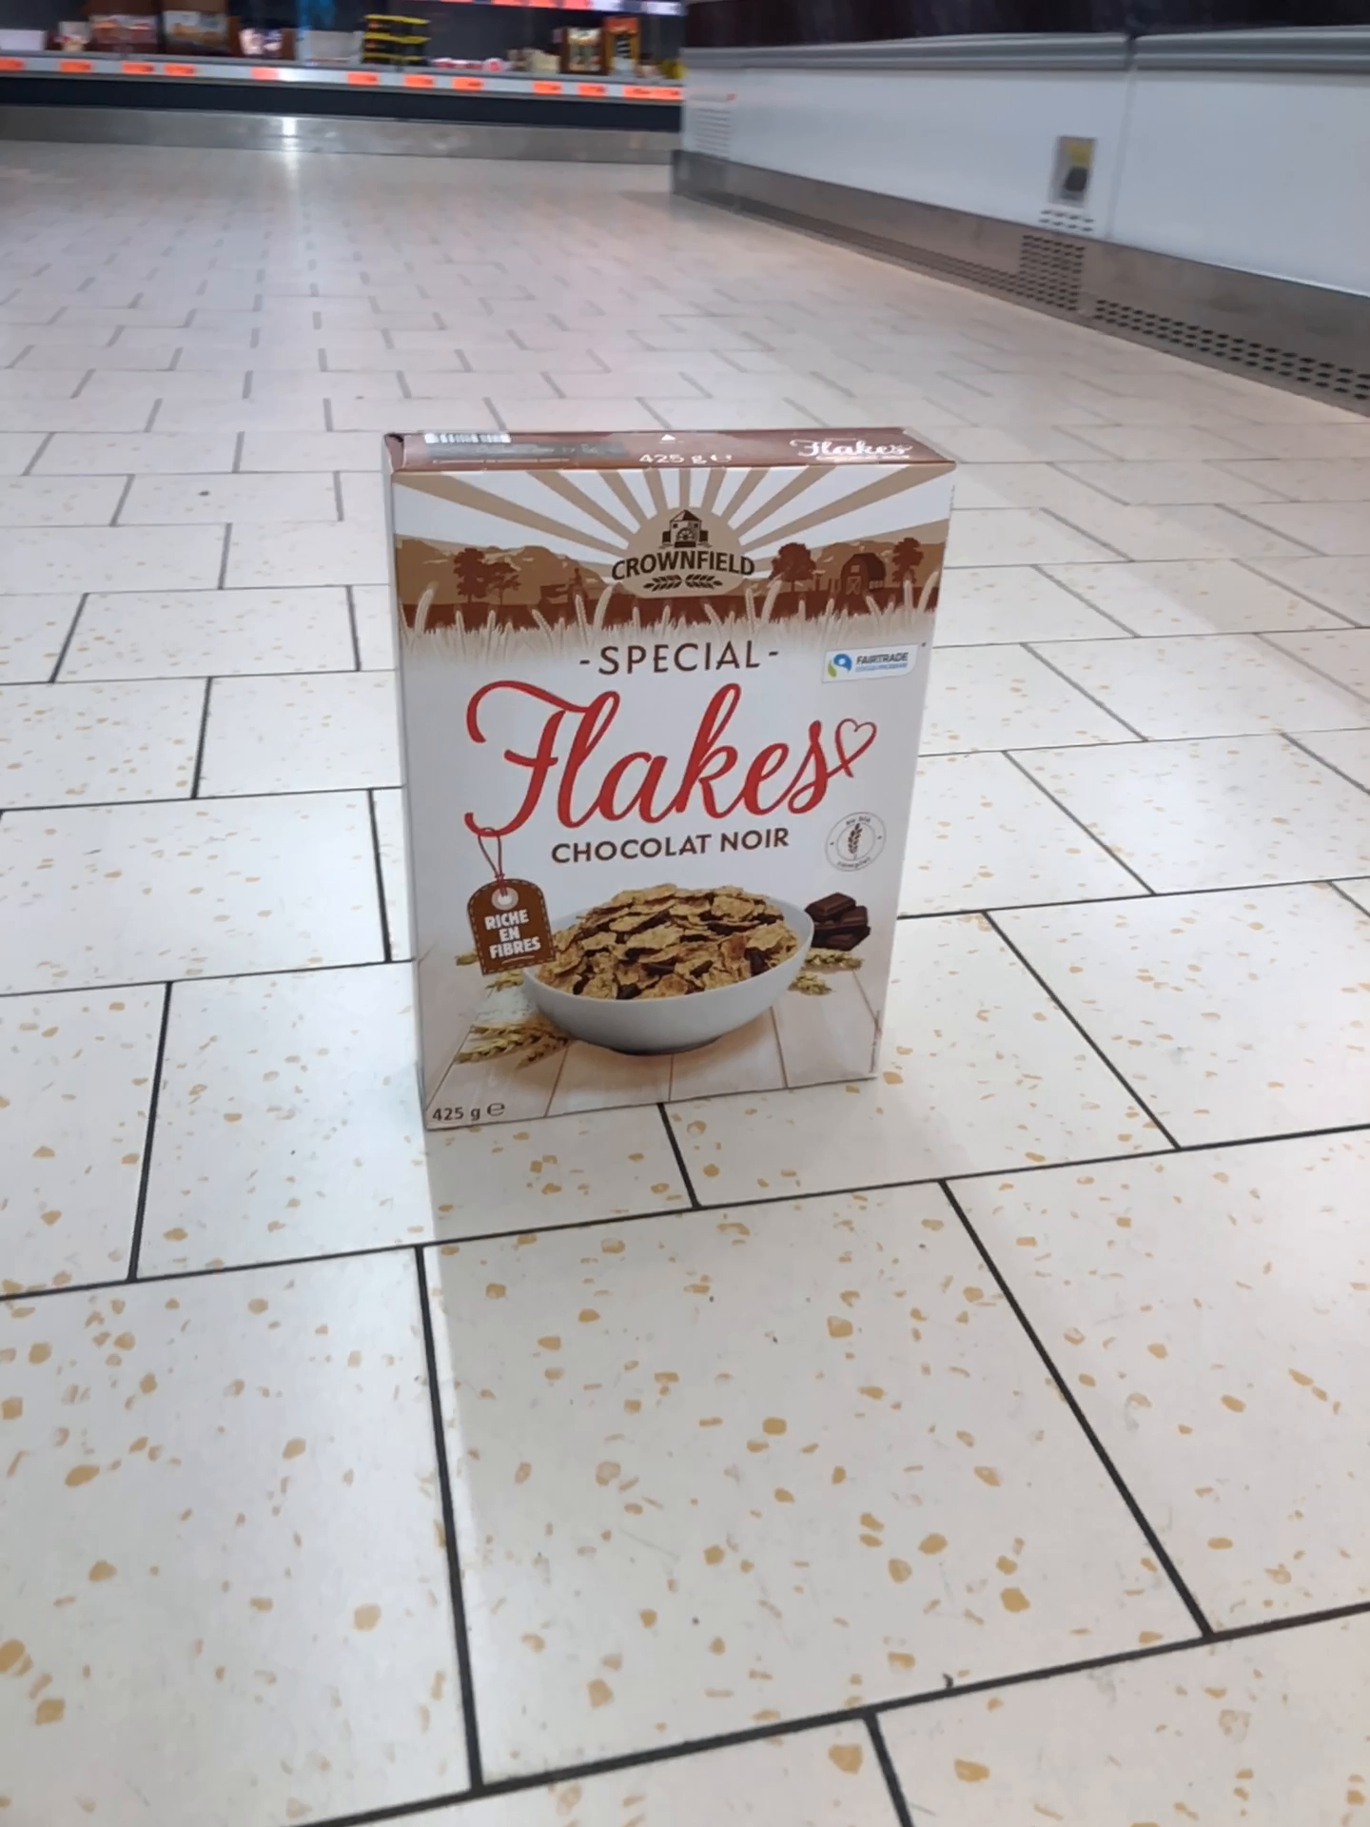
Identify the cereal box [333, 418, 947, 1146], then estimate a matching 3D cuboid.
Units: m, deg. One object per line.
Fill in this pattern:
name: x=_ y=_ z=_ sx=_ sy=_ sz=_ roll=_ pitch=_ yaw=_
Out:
cereal box: x=-0.022 y=-0.049 z=0.572 sx=0.200 sy=0.259 sz=0.070 roll=-4 pitch=28 yaw=-13
